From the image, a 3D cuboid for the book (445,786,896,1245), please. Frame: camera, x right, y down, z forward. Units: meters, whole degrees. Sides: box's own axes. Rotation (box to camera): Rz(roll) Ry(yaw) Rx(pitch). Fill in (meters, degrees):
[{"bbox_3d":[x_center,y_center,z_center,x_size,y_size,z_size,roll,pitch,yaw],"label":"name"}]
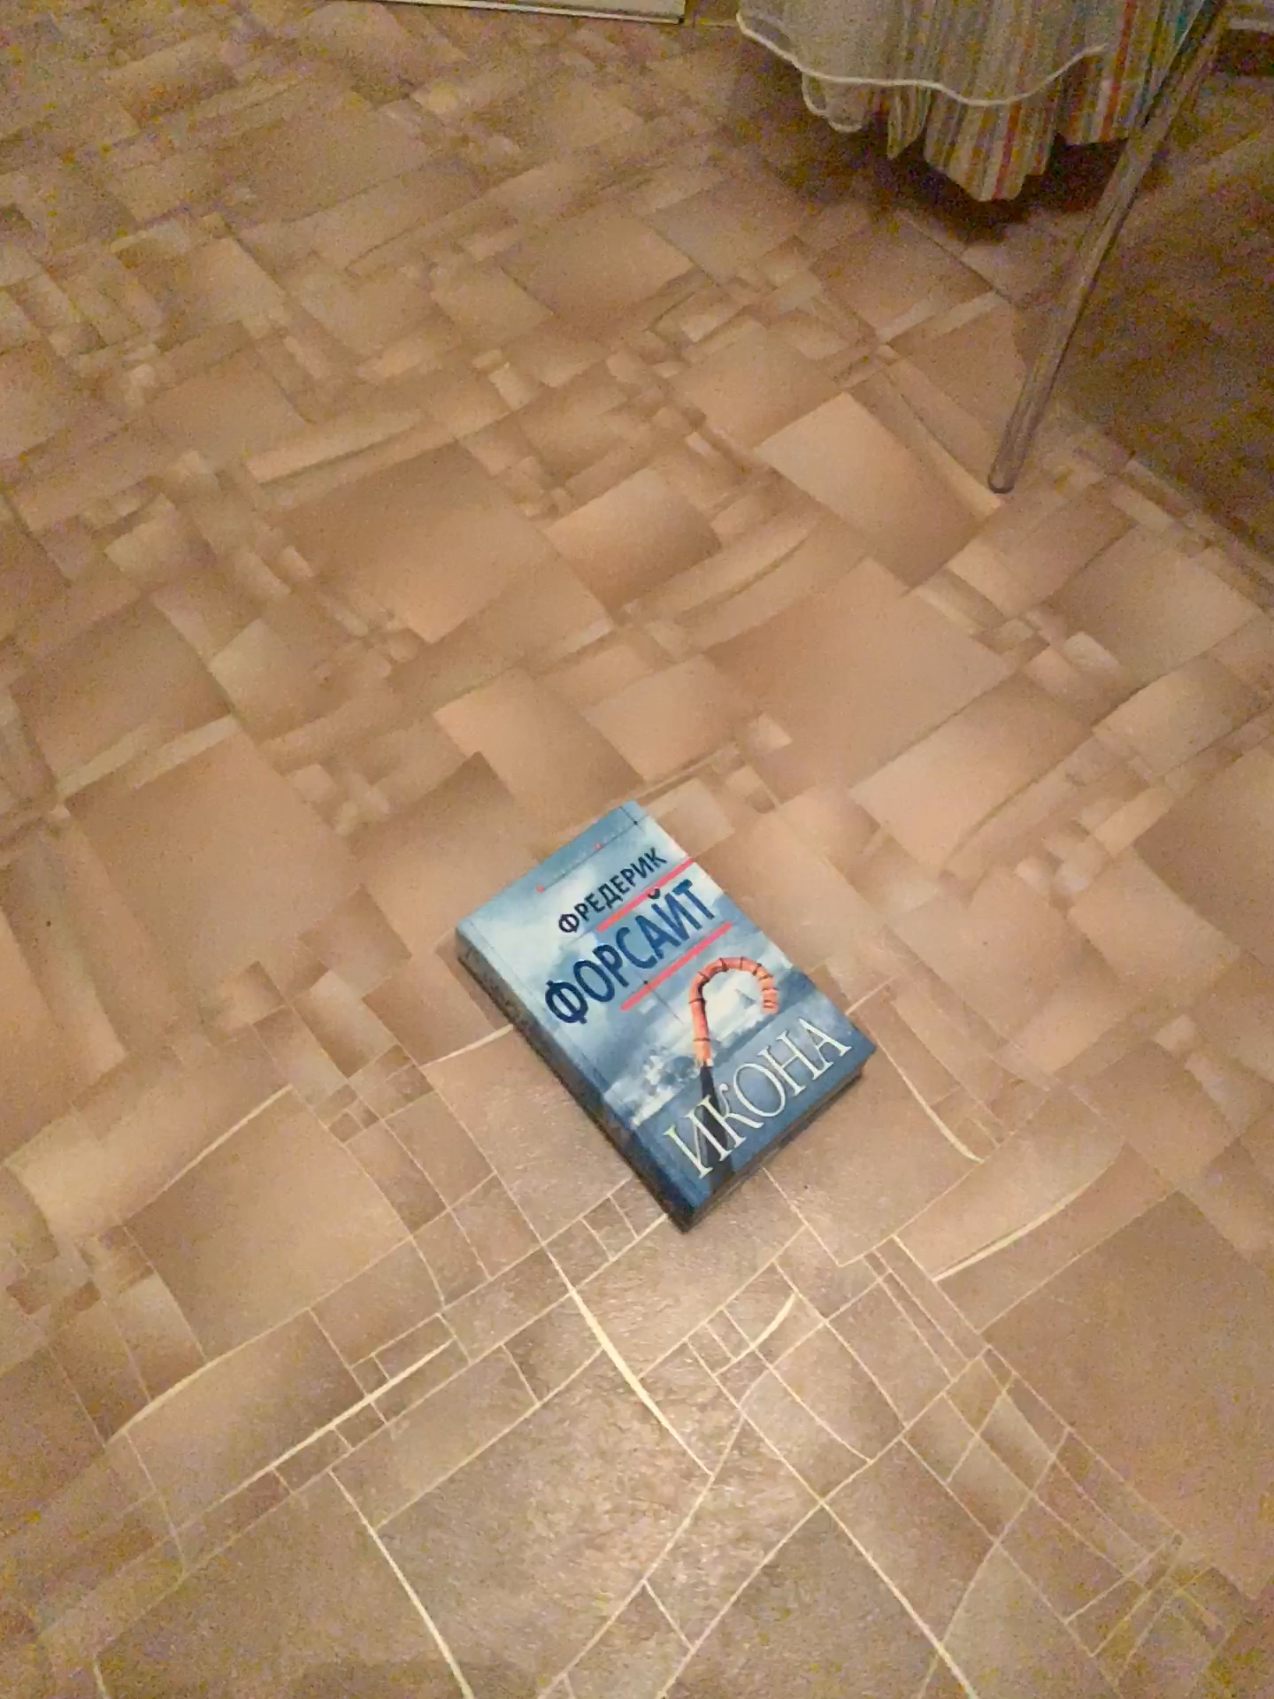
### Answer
[{"bbox_3d":[0.016,0.092,0.776,0.153,0.056,0.224,-36,66,-18],"label":"book"}]
